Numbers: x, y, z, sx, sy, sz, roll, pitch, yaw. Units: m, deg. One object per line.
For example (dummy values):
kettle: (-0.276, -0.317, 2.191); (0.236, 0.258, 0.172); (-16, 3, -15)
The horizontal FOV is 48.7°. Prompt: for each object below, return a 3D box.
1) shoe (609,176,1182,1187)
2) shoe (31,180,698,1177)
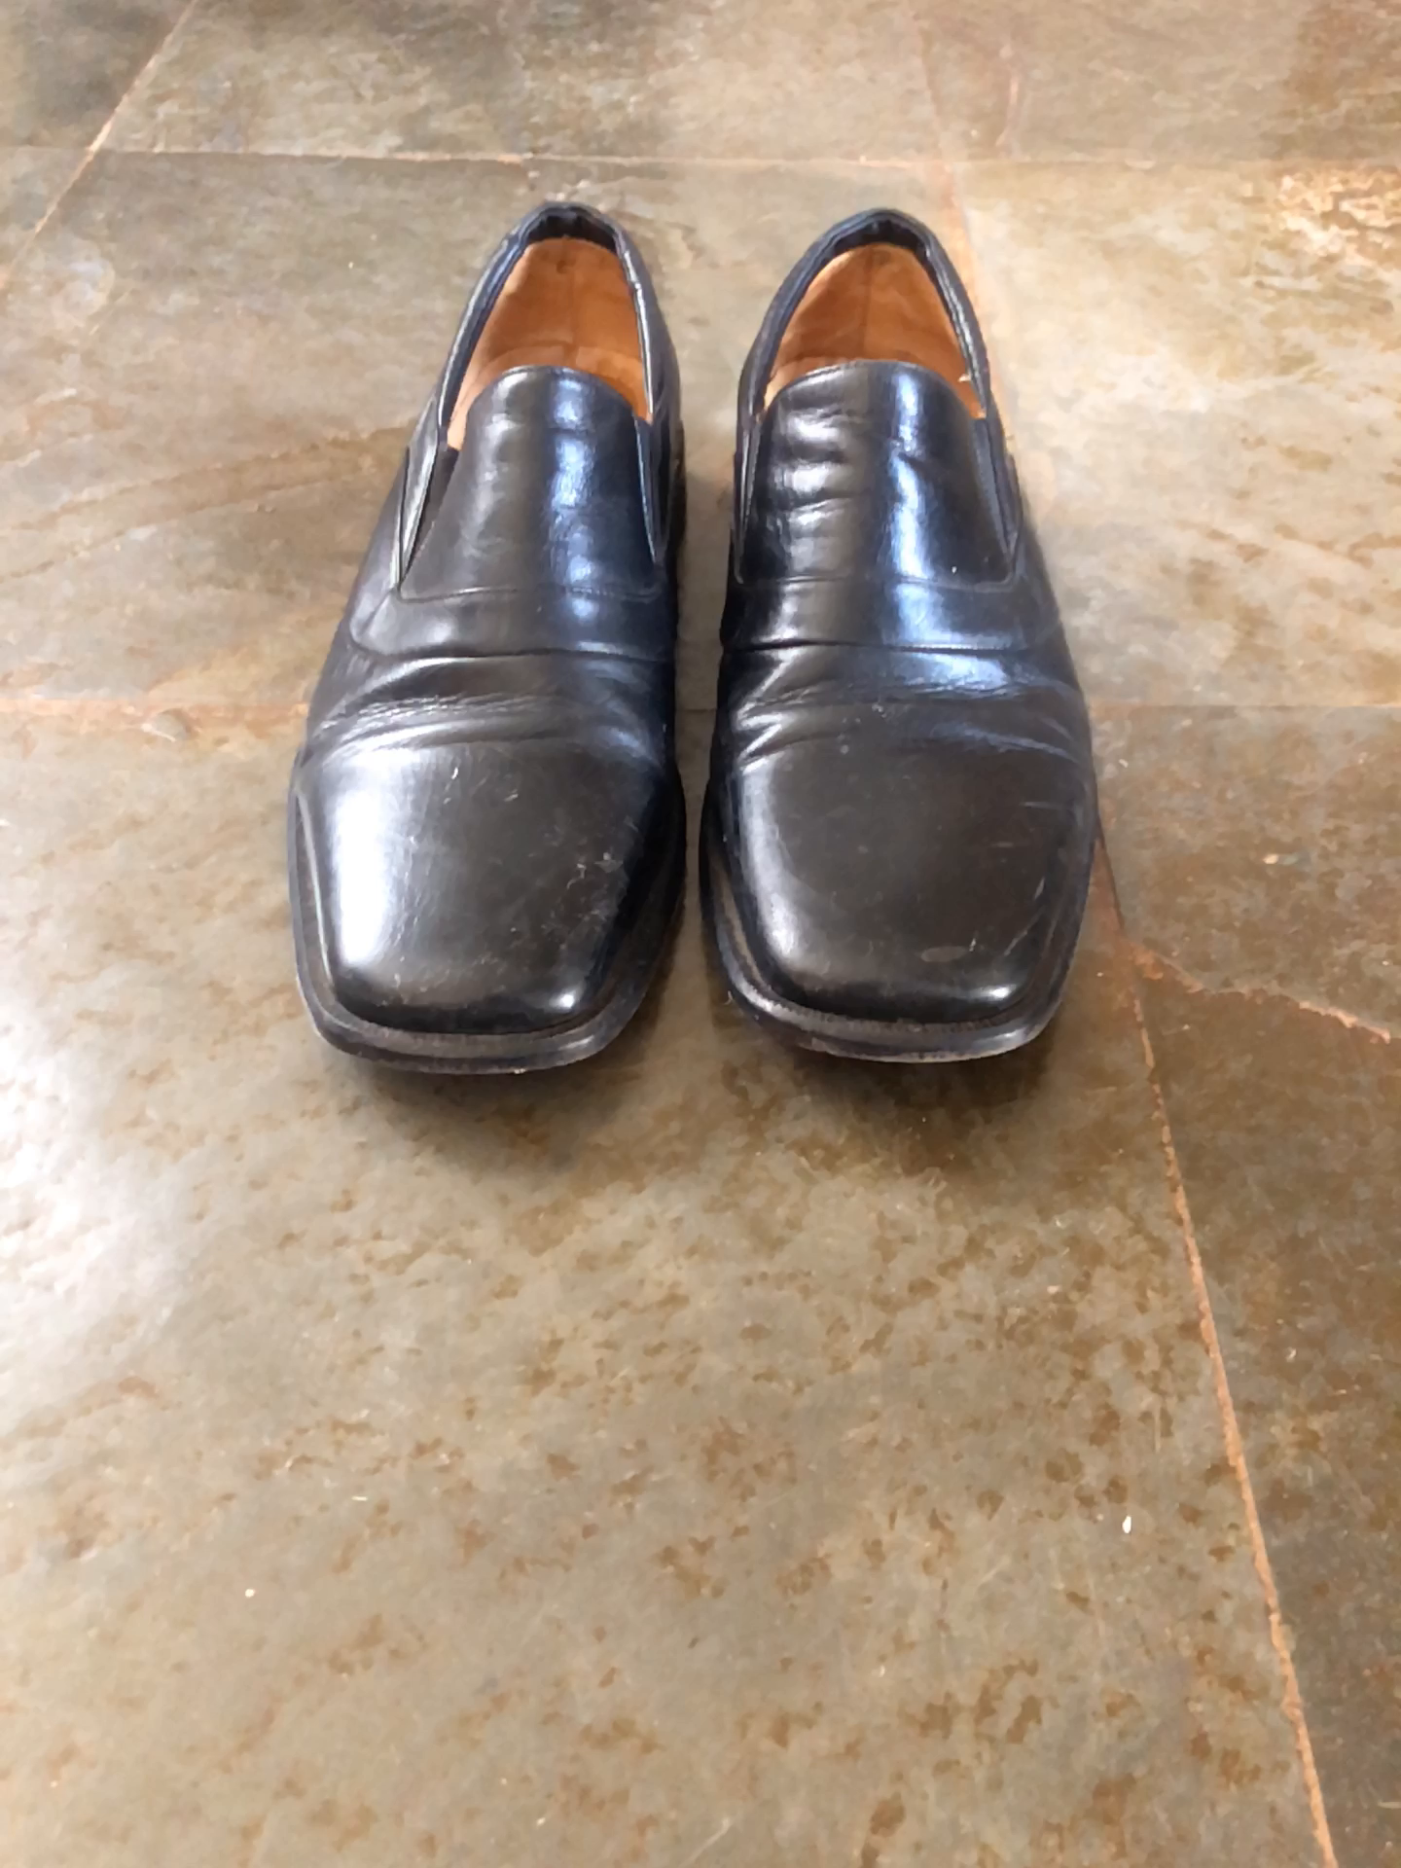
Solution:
shoe: (0.039, -0.085, 0.407); (0.100, 0.109, 0.282); (2, 47, 1)
shoe: (-0.060, -0.086, 0.412); (0.110, 0.109, 0.282); (2, 47, 1)
